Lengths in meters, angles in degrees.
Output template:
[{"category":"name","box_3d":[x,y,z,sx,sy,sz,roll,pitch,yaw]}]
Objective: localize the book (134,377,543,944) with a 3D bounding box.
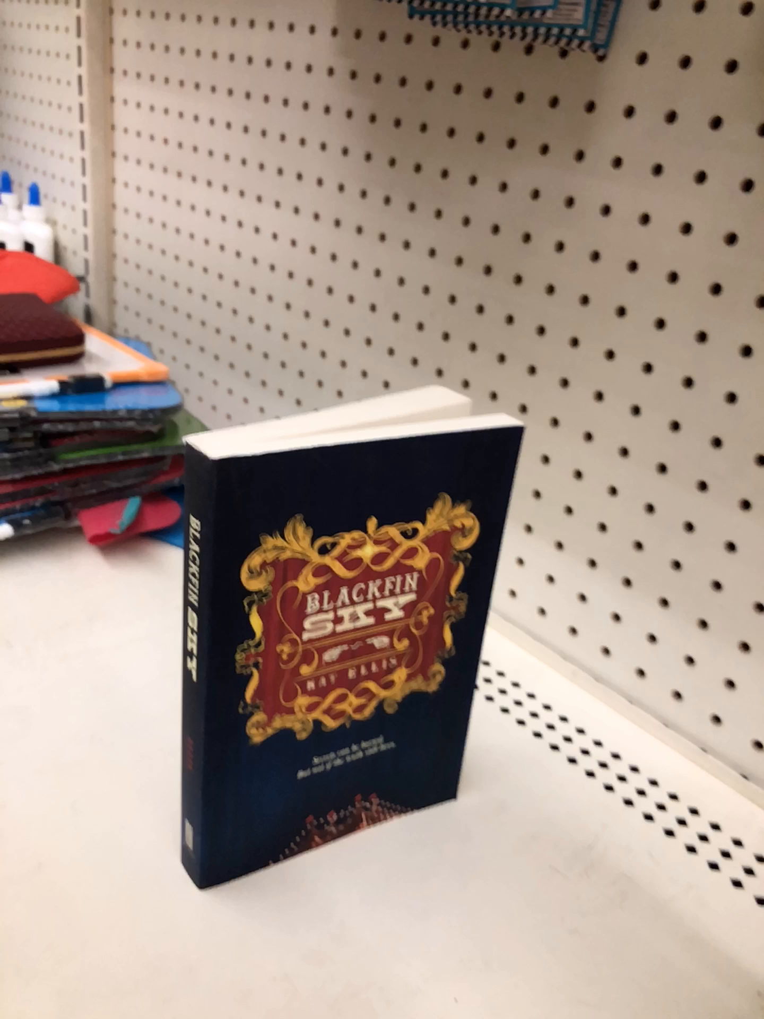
[{"category":"book","box_3d":[-0.021,0.057,0.367,0.150,0.205,0.059,-13,30,-36]}]
